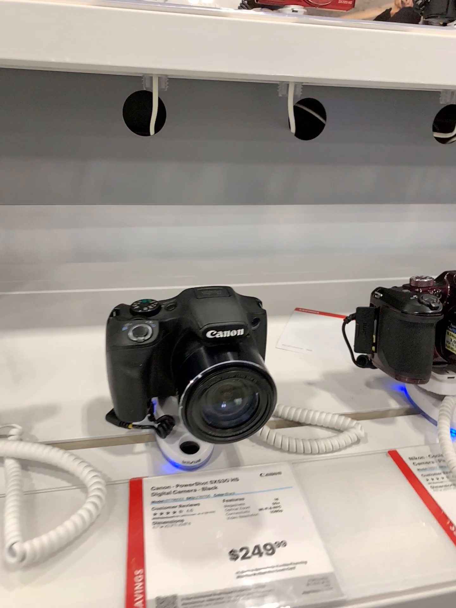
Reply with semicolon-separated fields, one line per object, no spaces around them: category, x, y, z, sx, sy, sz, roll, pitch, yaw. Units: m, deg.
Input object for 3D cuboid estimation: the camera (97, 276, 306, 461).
camera;-0.023;0.037;0.329;0.120;0.080;0.100;-3;23;-10
